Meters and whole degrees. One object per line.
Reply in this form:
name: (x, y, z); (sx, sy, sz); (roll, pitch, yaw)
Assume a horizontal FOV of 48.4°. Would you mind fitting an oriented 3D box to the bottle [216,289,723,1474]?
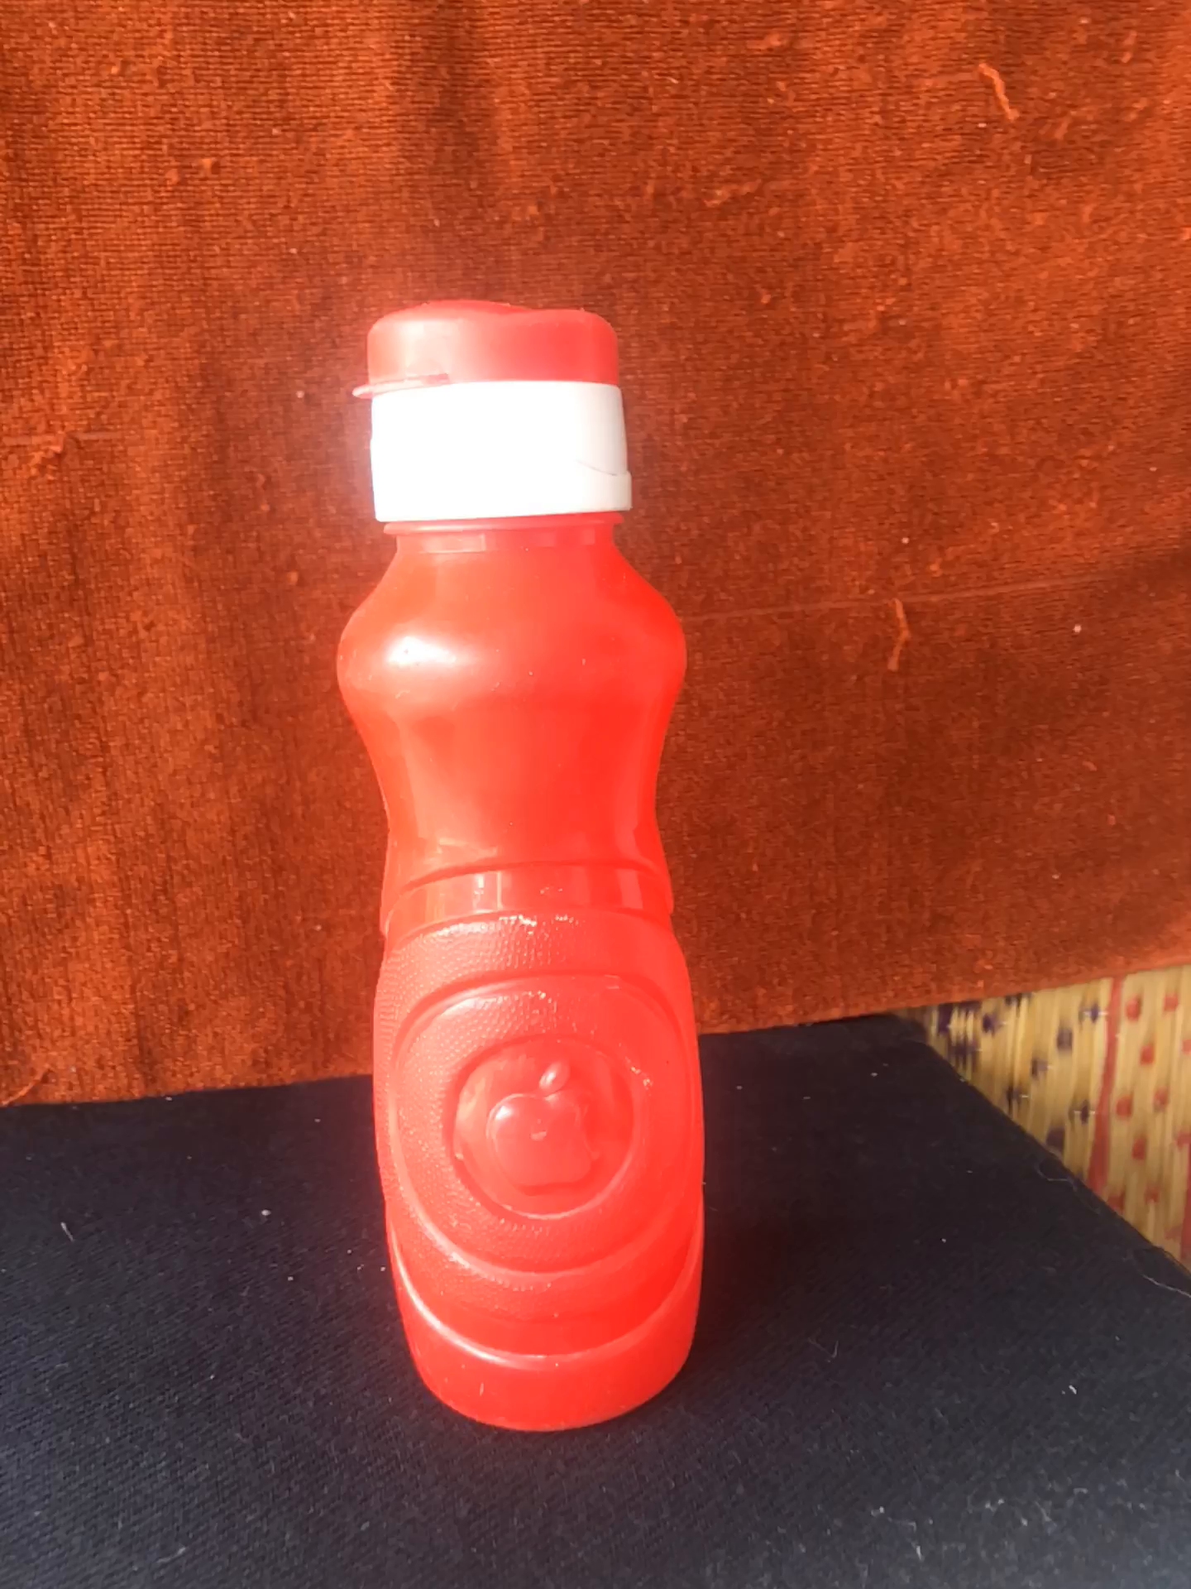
bottle: (-0.019, 0.018, 0.270); (0.080, 0.219, 0.070); (-1, 14, -2)
